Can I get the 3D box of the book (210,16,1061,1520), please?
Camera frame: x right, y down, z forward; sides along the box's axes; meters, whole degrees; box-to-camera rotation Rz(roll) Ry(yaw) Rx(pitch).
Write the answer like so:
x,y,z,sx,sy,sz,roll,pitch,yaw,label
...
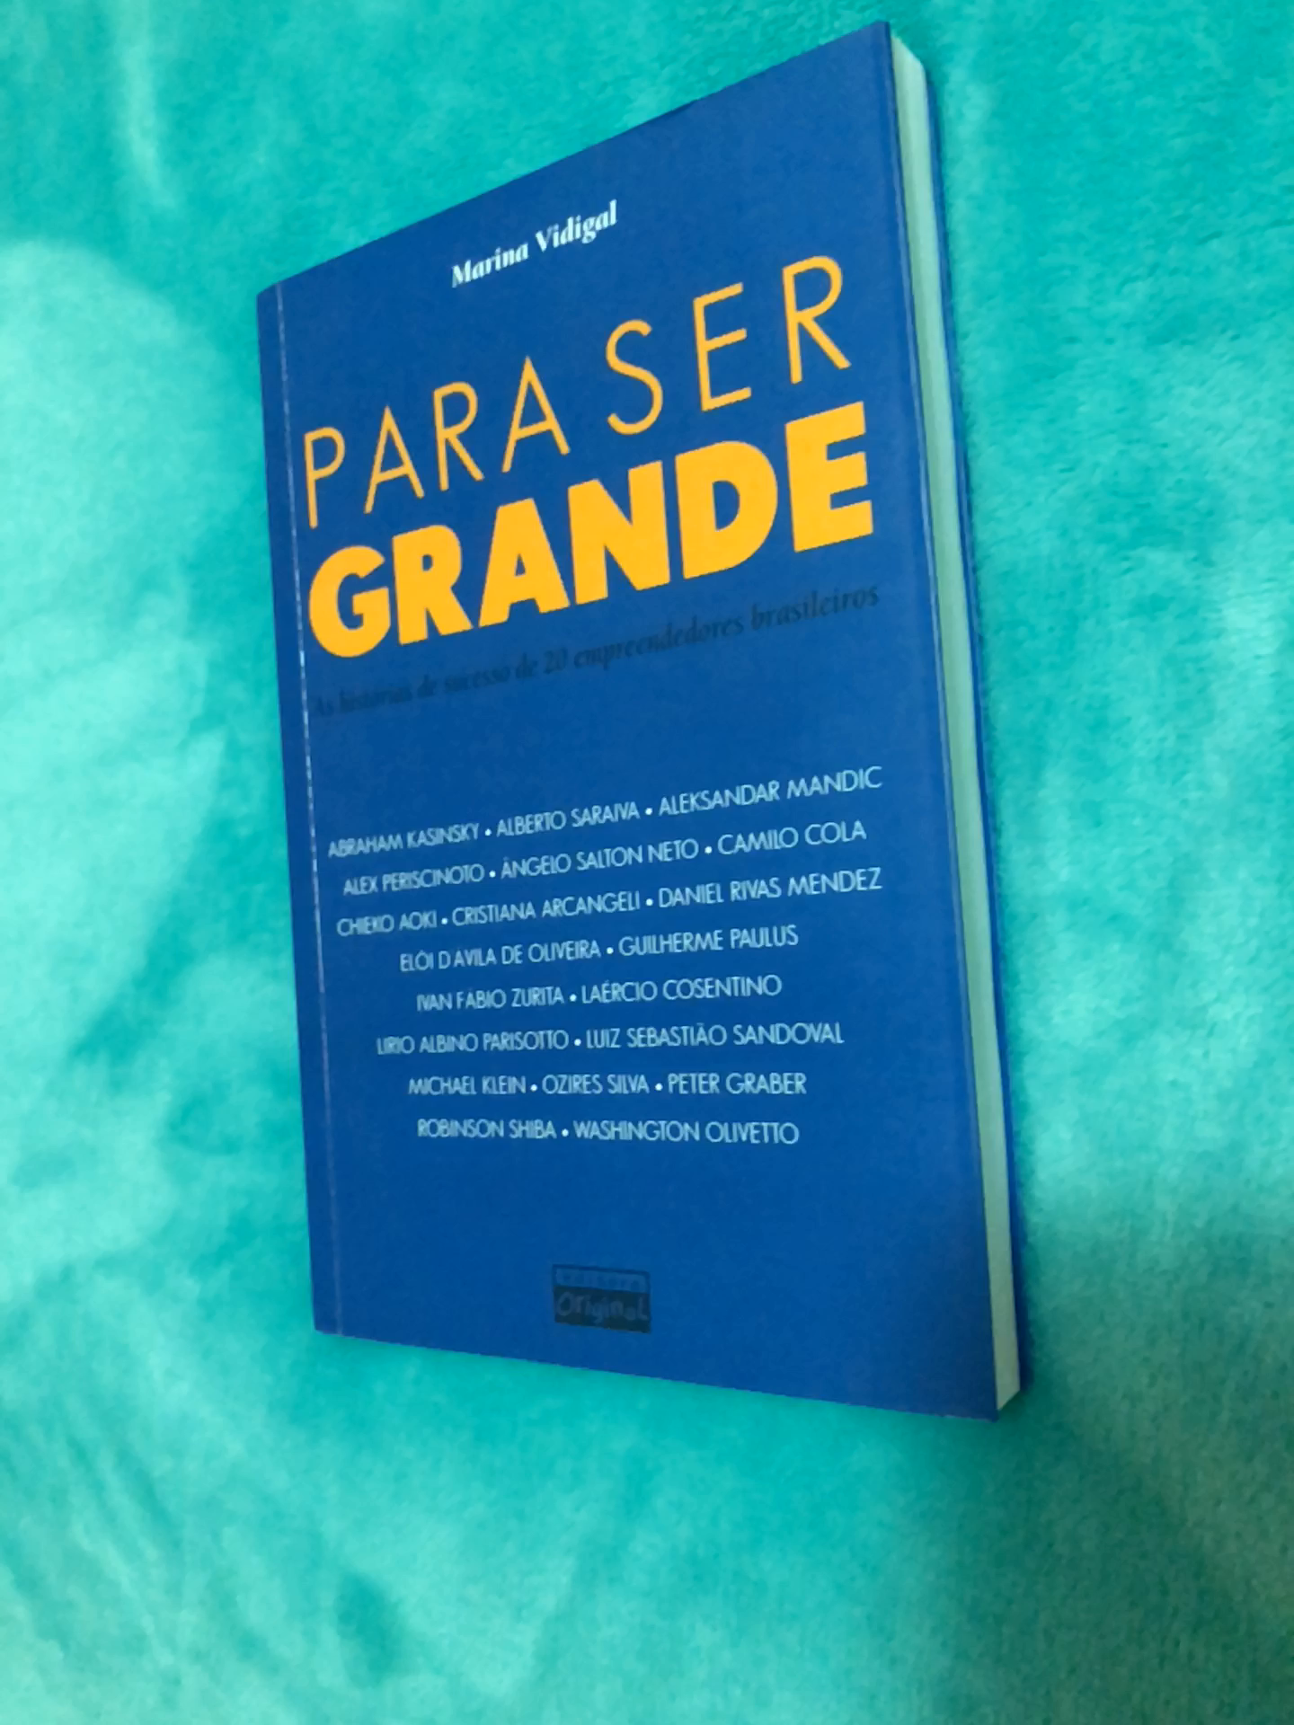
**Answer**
x,y,z,sx,sy,sz,roll,pitch,yaw,label
-0.011,-0.010,0.243,0.141,0.030,0.200,-4,88,35,book
